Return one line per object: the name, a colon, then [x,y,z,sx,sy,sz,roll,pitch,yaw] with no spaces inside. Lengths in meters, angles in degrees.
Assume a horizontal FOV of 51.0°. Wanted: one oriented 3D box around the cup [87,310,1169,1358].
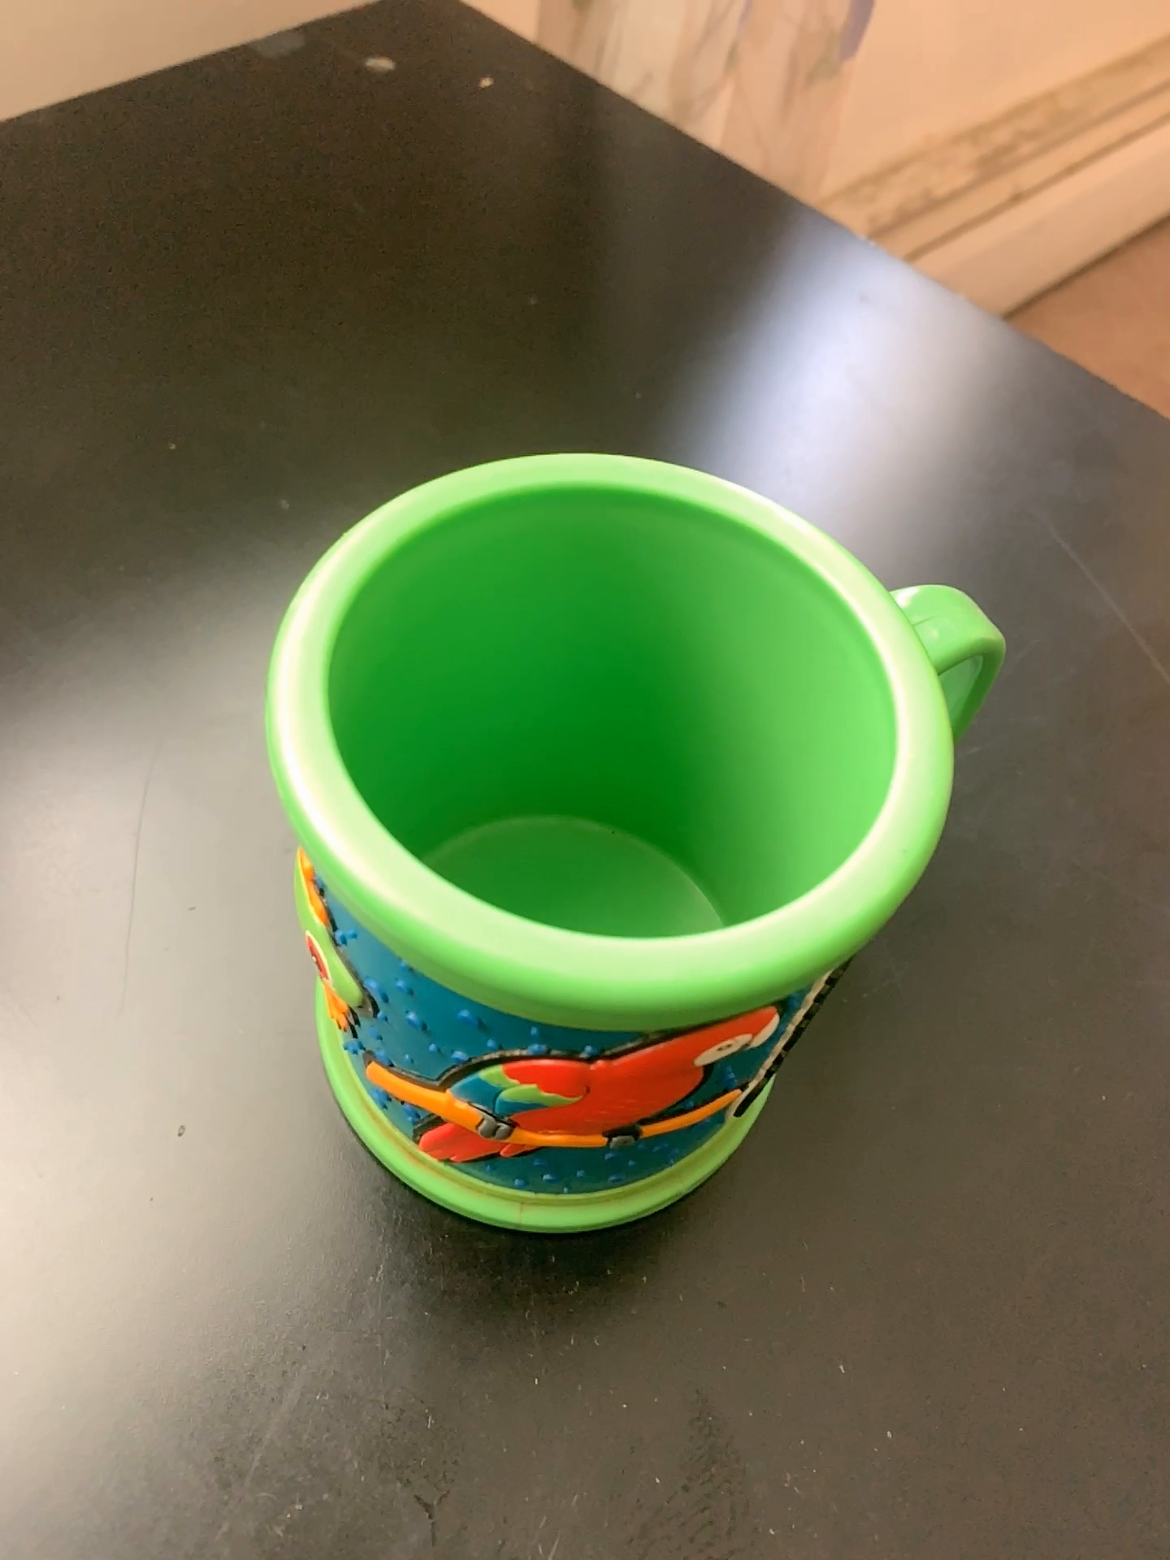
cup: [0.008,0.008,0.186,0.120,0.099,0.080,-22,60,-22]
